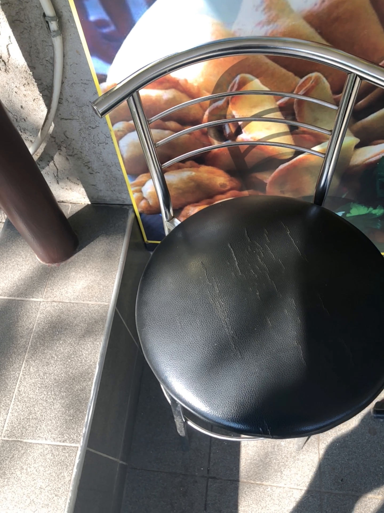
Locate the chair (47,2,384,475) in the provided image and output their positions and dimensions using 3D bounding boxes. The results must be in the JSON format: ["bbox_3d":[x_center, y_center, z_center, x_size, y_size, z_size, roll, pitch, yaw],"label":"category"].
[{"bbox_3d":[0.120,0.144,0.986,0.510,1.098,0.501,-10,59,-1],"label":"chair"}]
